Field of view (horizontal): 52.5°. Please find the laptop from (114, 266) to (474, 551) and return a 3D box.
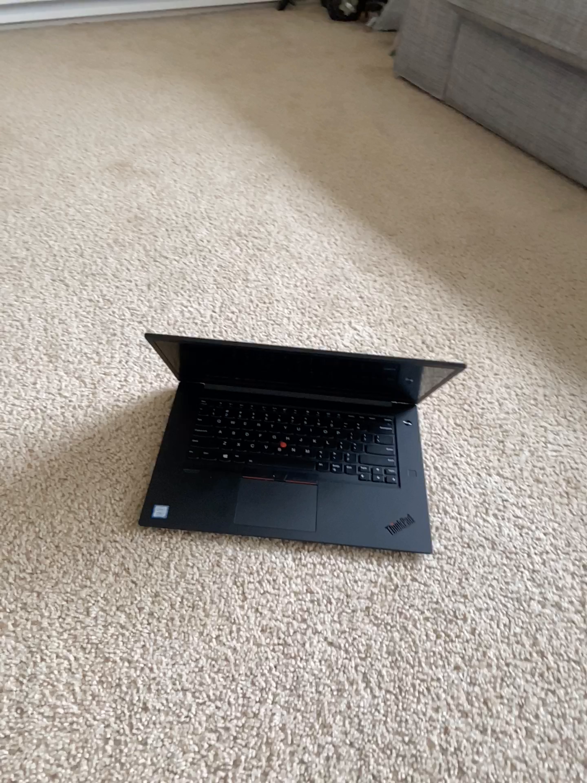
[{"bbox_3d":[0.003,0.018,0.738,0.354,0.198,0.245,6,46,0],"label":"laptop"}]
